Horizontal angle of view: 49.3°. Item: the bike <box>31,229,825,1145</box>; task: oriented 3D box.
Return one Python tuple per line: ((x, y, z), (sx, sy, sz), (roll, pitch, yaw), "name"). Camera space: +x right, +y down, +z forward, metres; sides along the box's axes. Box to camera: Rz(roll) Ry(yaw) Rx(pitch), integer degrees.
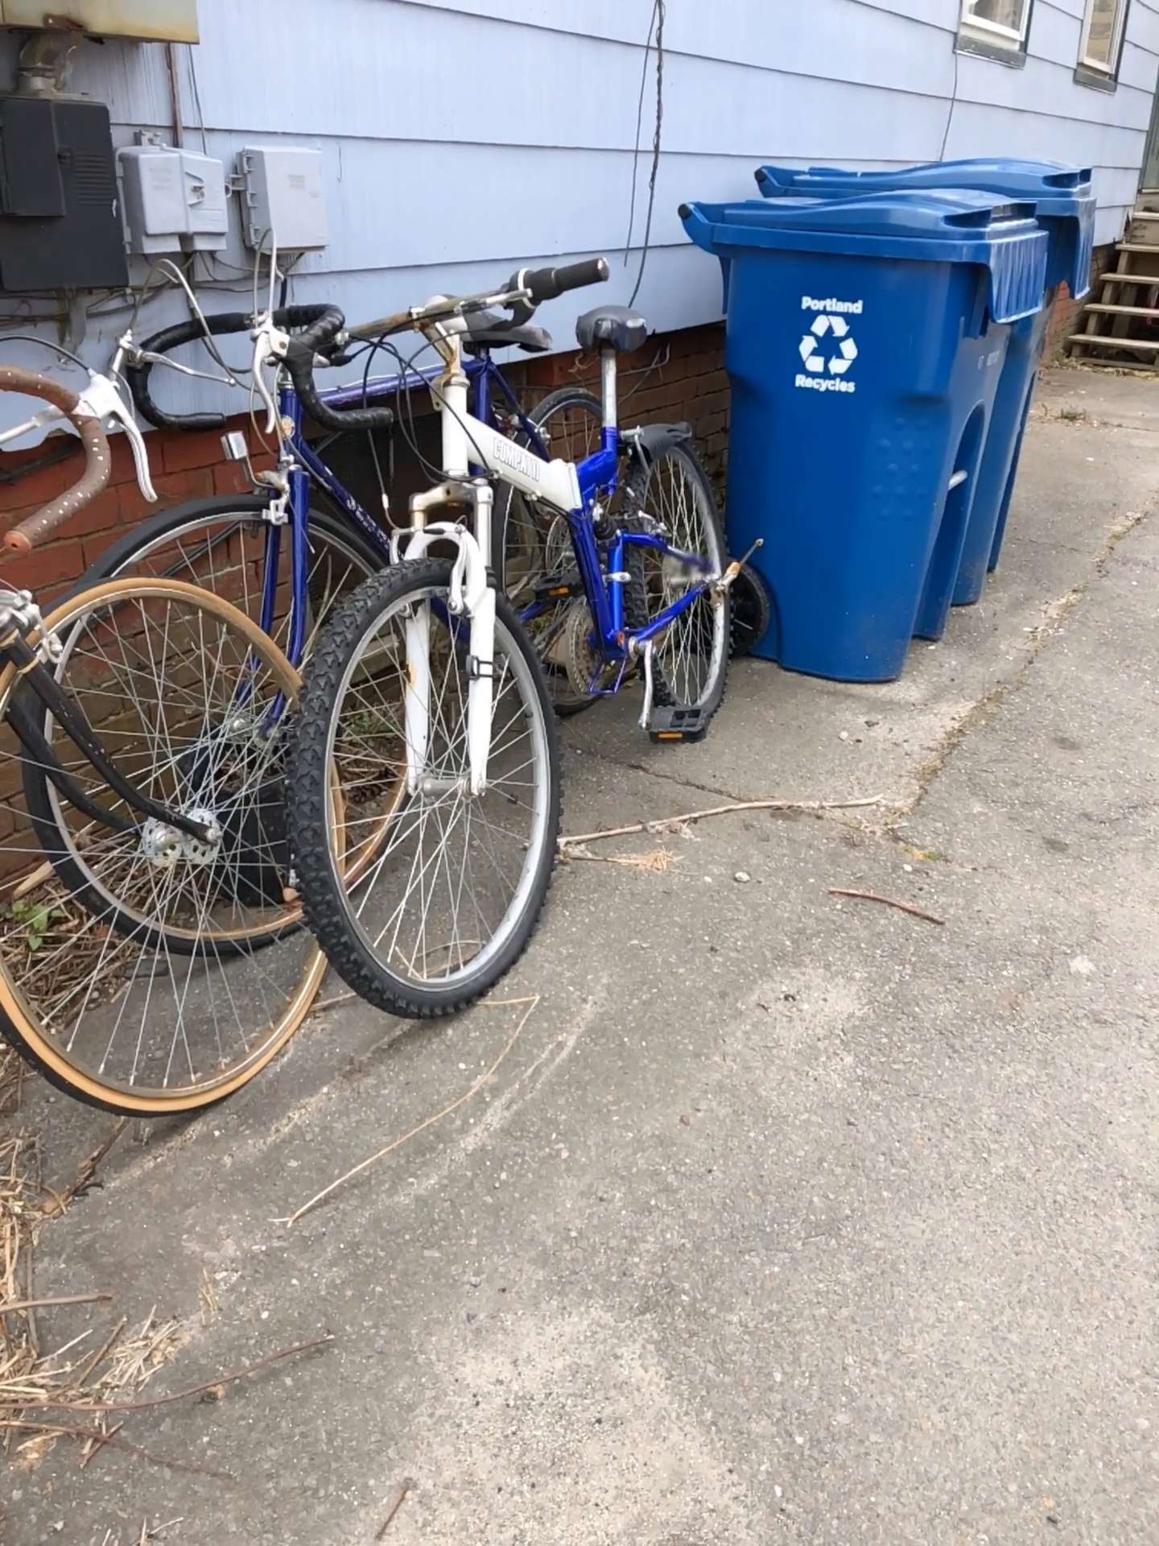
((-0.076, -0.372, 2.336), (0.562, 0.979, 1.739), (11, 30, 20), "bike")
